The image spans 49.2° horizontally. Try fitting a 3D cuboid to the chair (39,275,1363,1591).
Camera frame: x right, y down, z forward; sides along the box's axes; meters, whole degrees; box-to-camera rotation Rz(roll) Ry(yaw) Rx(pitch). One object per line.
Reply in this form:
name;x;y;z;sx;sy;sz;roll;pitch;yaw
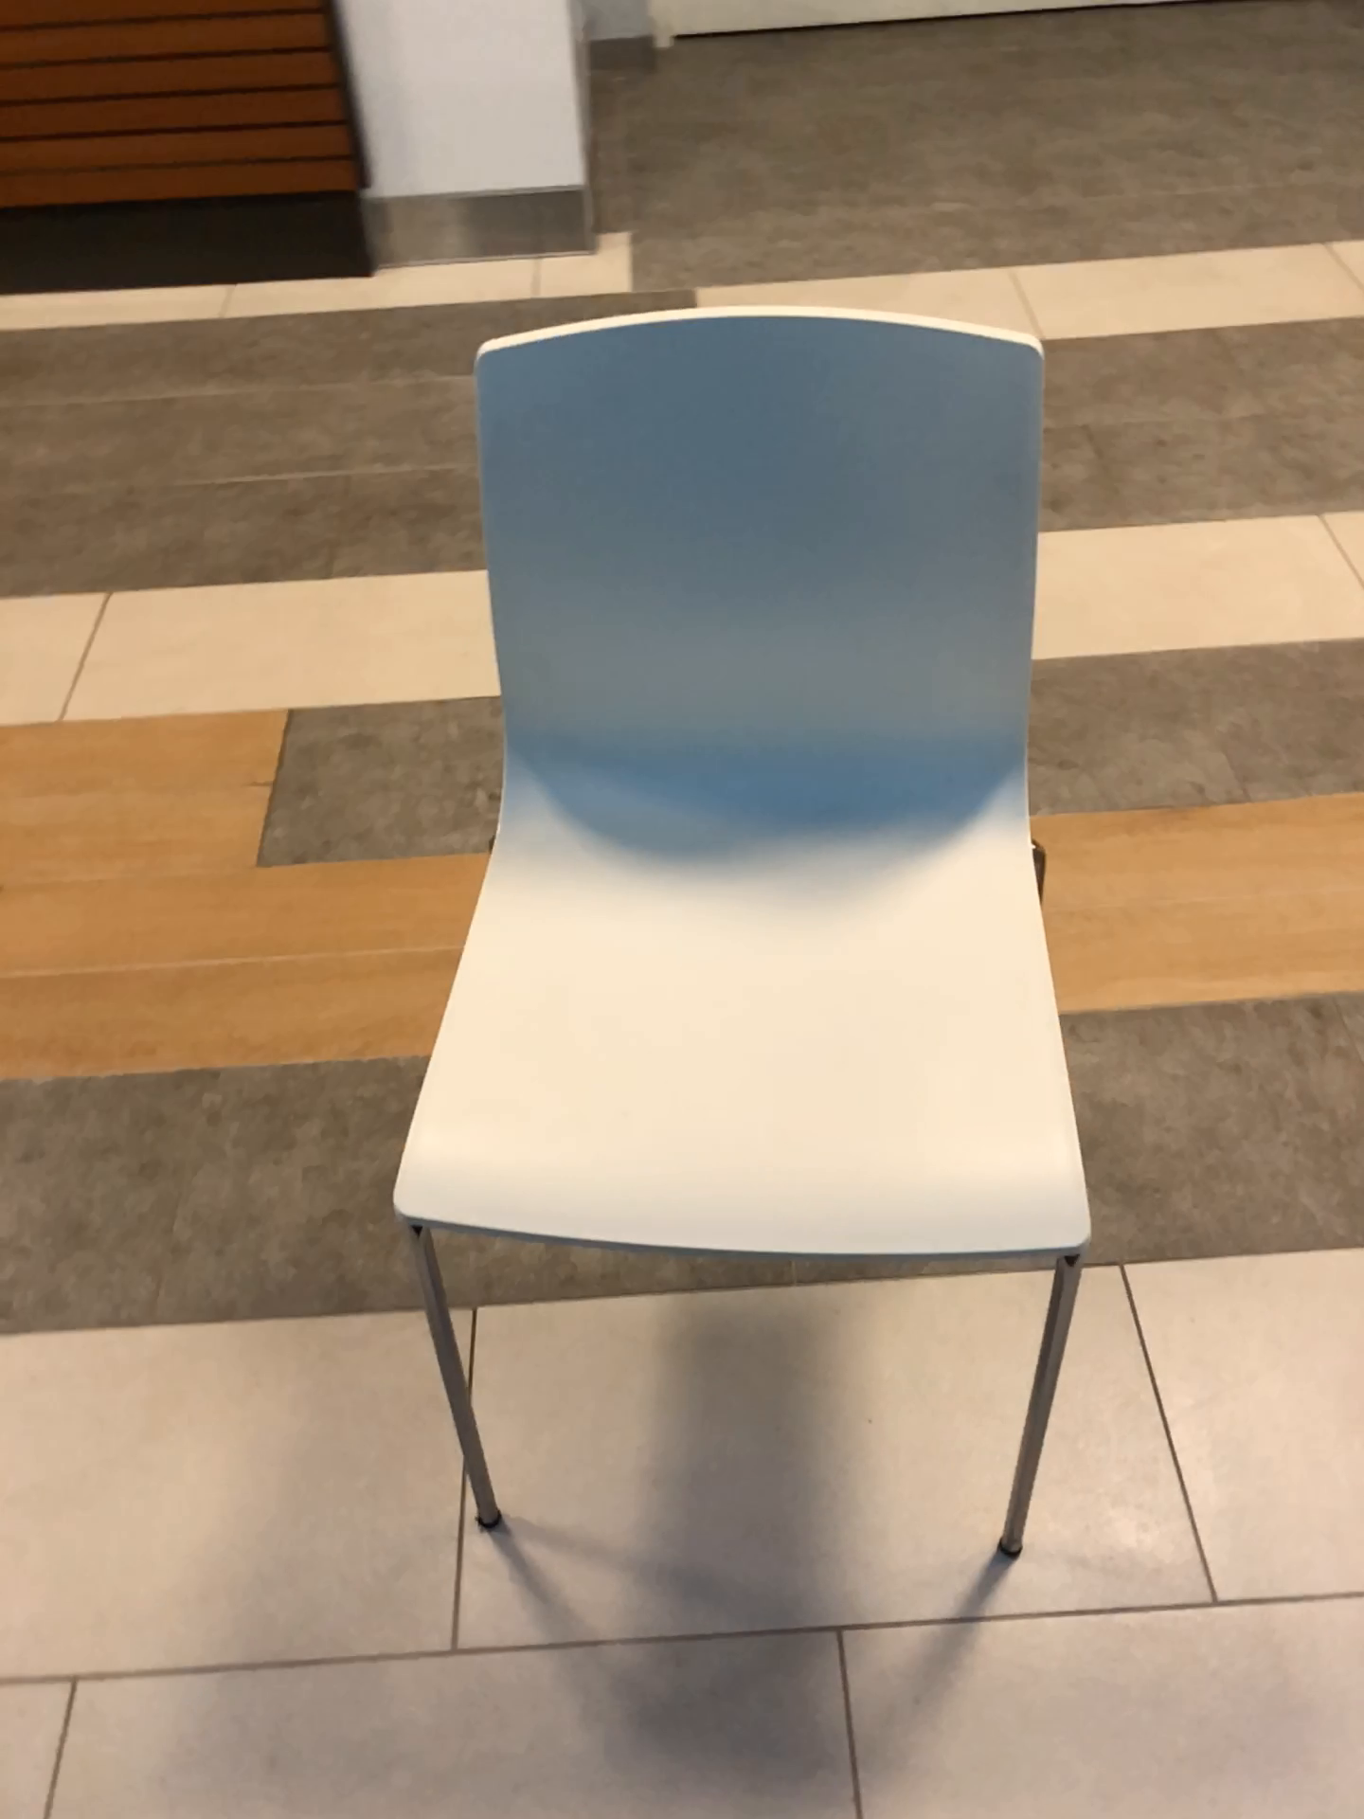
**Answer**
chair;0.051;0.059;1.072;0.580;0.776;0.553;0;46;3
